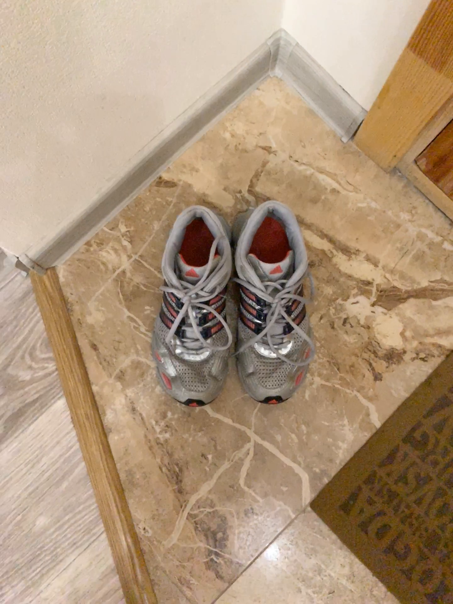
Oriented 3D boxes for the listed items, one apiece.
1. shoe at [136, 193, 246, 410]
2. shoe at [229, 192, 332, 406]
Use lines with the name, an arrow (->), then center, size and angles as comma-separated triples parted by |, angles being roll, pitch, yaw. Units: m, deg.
shoe -> -0.038, 0.002, 0.564 | 0.110, 0.090, 0.240 | 2, 82, 0
shoe -> 0.061, -0.001, 0.568 | 0.110, 0.090, 0.240 | 1, 82, -1
